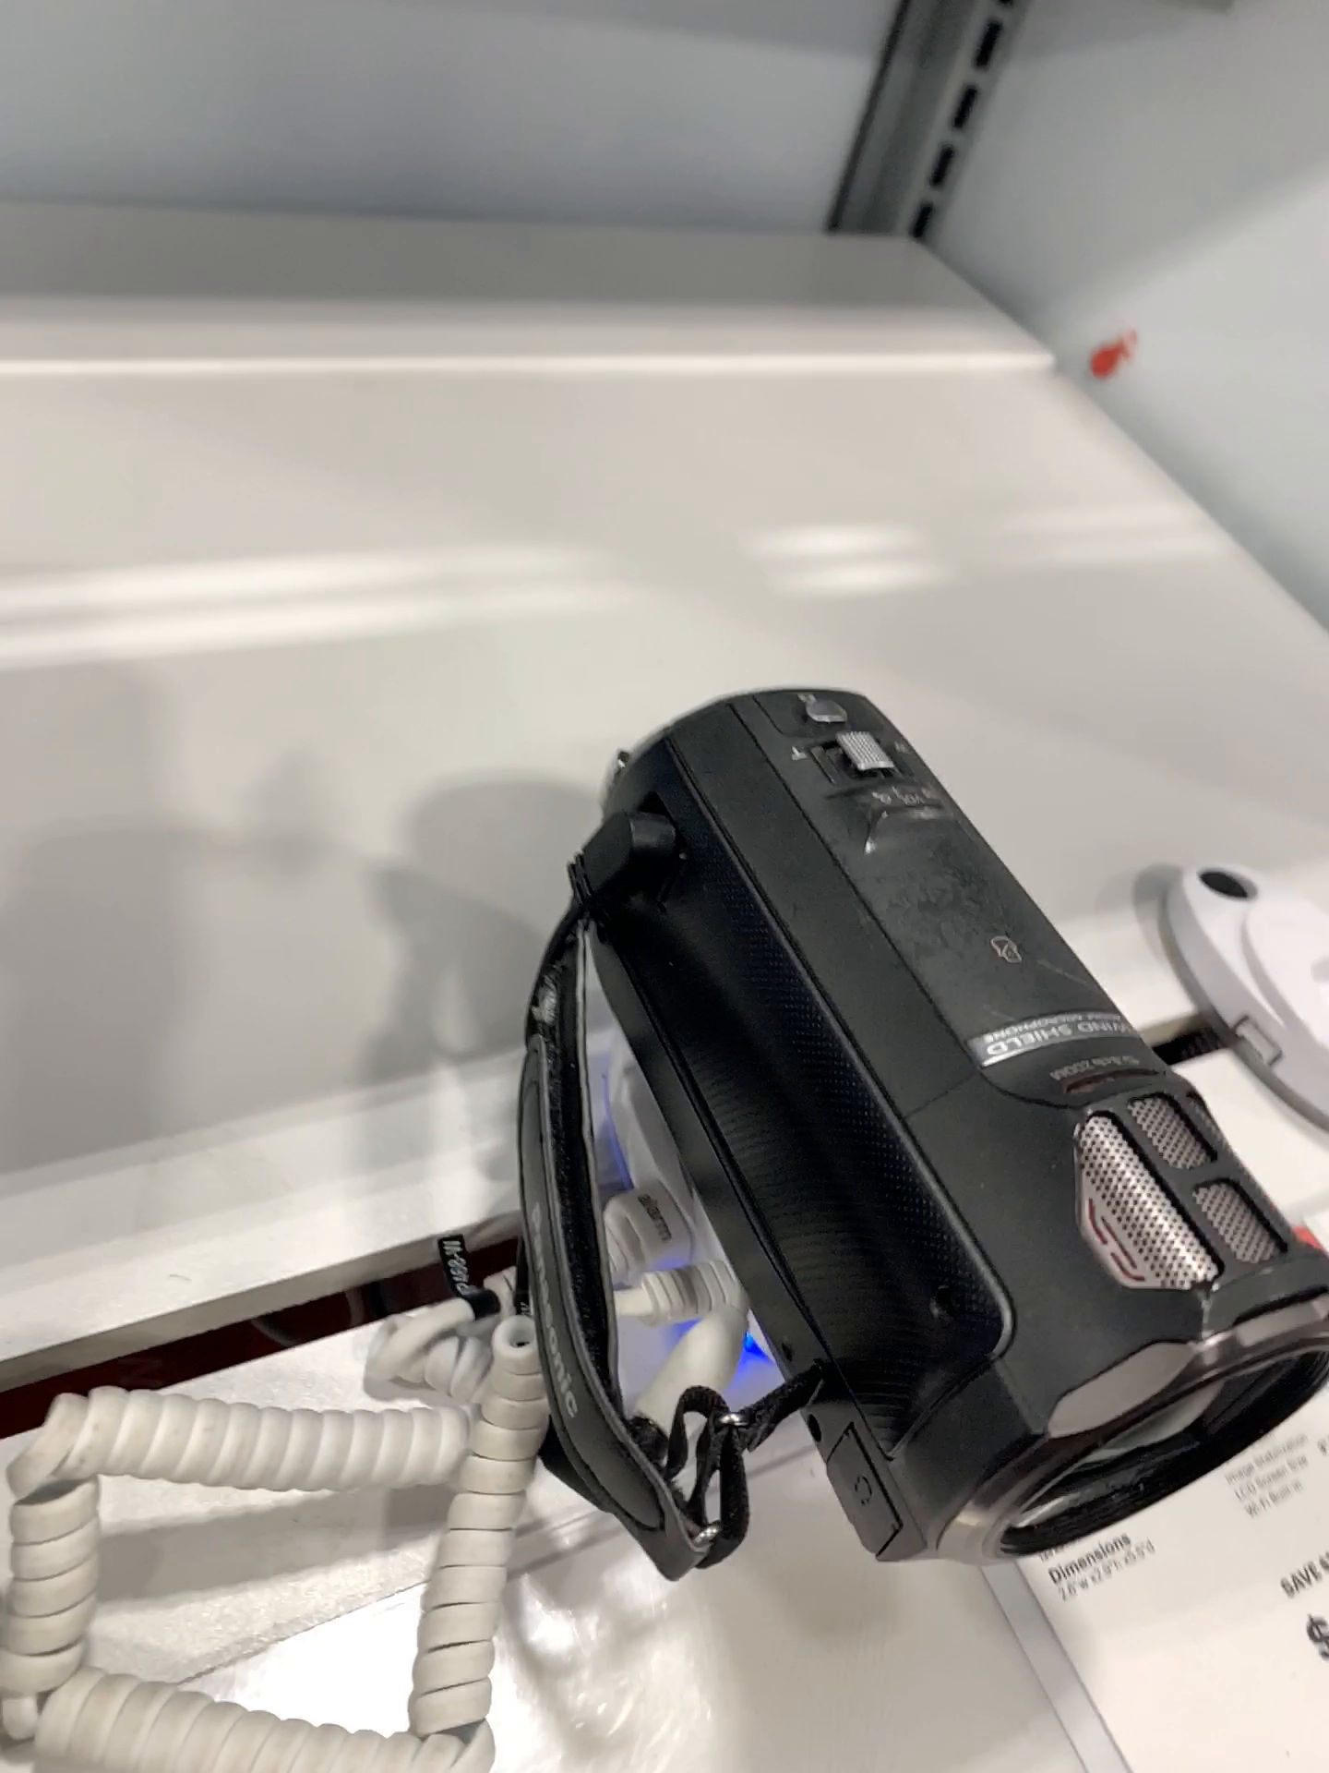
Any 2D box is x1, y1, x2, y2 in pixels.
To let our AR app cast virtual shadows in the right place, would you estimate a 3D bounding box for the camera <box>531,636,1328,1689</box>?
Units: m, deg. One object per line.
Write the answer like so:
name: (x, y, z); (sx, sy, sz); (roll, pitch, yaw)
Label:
camera: (0.039, 0.029, 0.214); (0.065, 0.061, 0.139); (-9, 47, -26)
